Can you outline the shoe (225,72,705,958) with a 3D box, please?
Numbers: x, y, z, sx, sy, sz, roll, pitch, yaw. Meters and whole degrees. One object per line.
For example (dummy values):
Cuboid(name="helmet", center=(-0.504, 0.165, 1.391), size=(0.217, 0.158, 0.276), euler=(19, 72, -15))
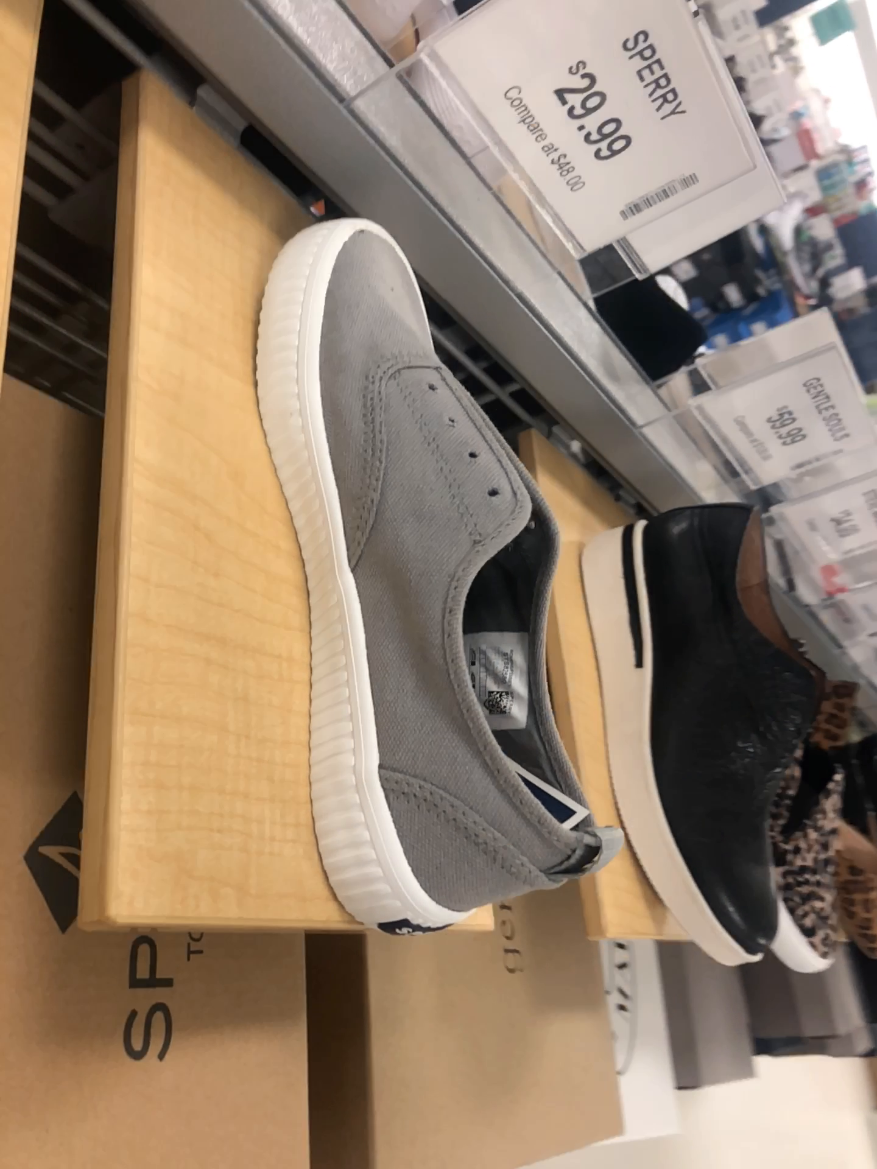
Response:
Cuboid(name="shoe", center=(0.006, -0.020, 0.323), size=(0.098, 0.081, 0.251), euler=(21, 55, -59))
